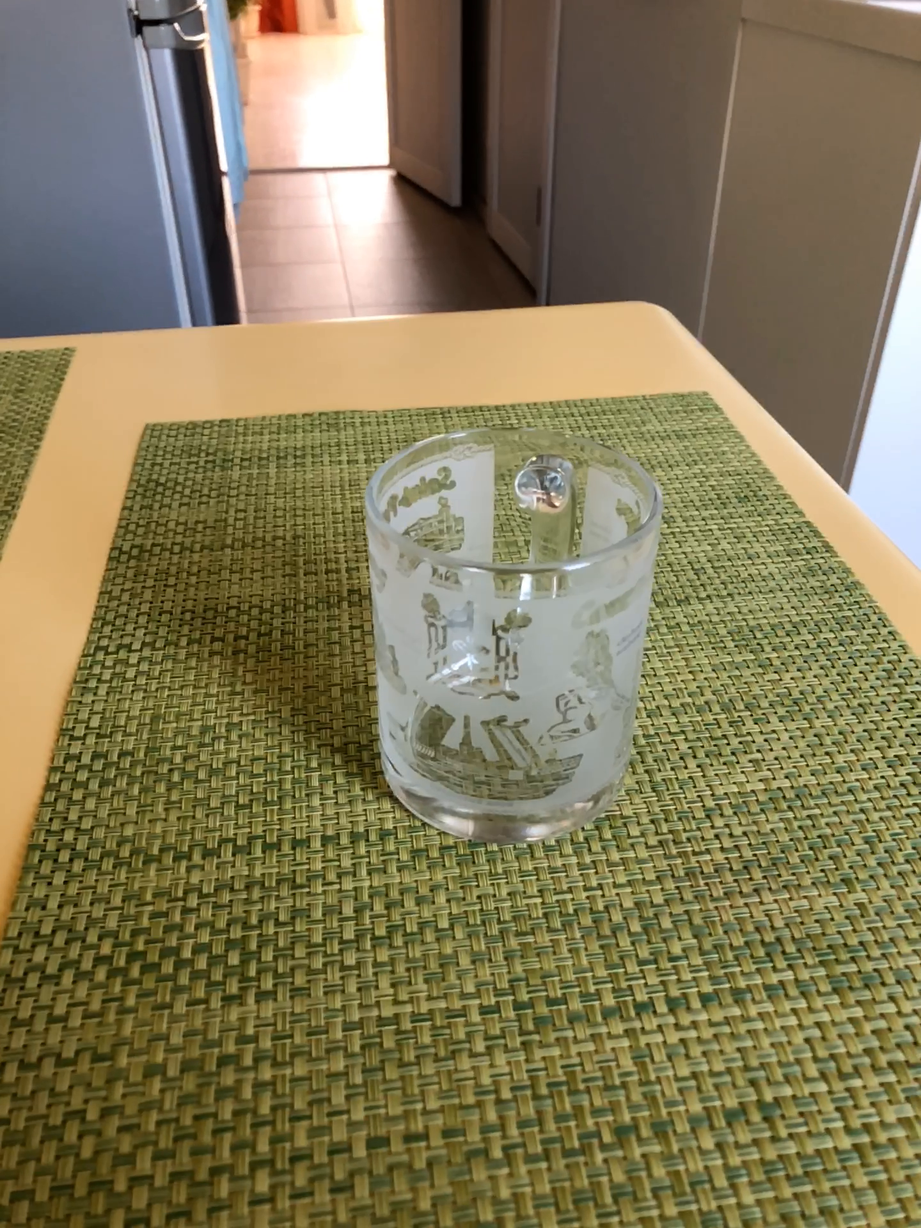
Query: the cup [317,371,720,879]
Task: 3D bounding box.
[{"bbox_3d":[0.023,-0.003,0.308,0.087,0.096,0.110,9,35,14],"label":"cup"}]
